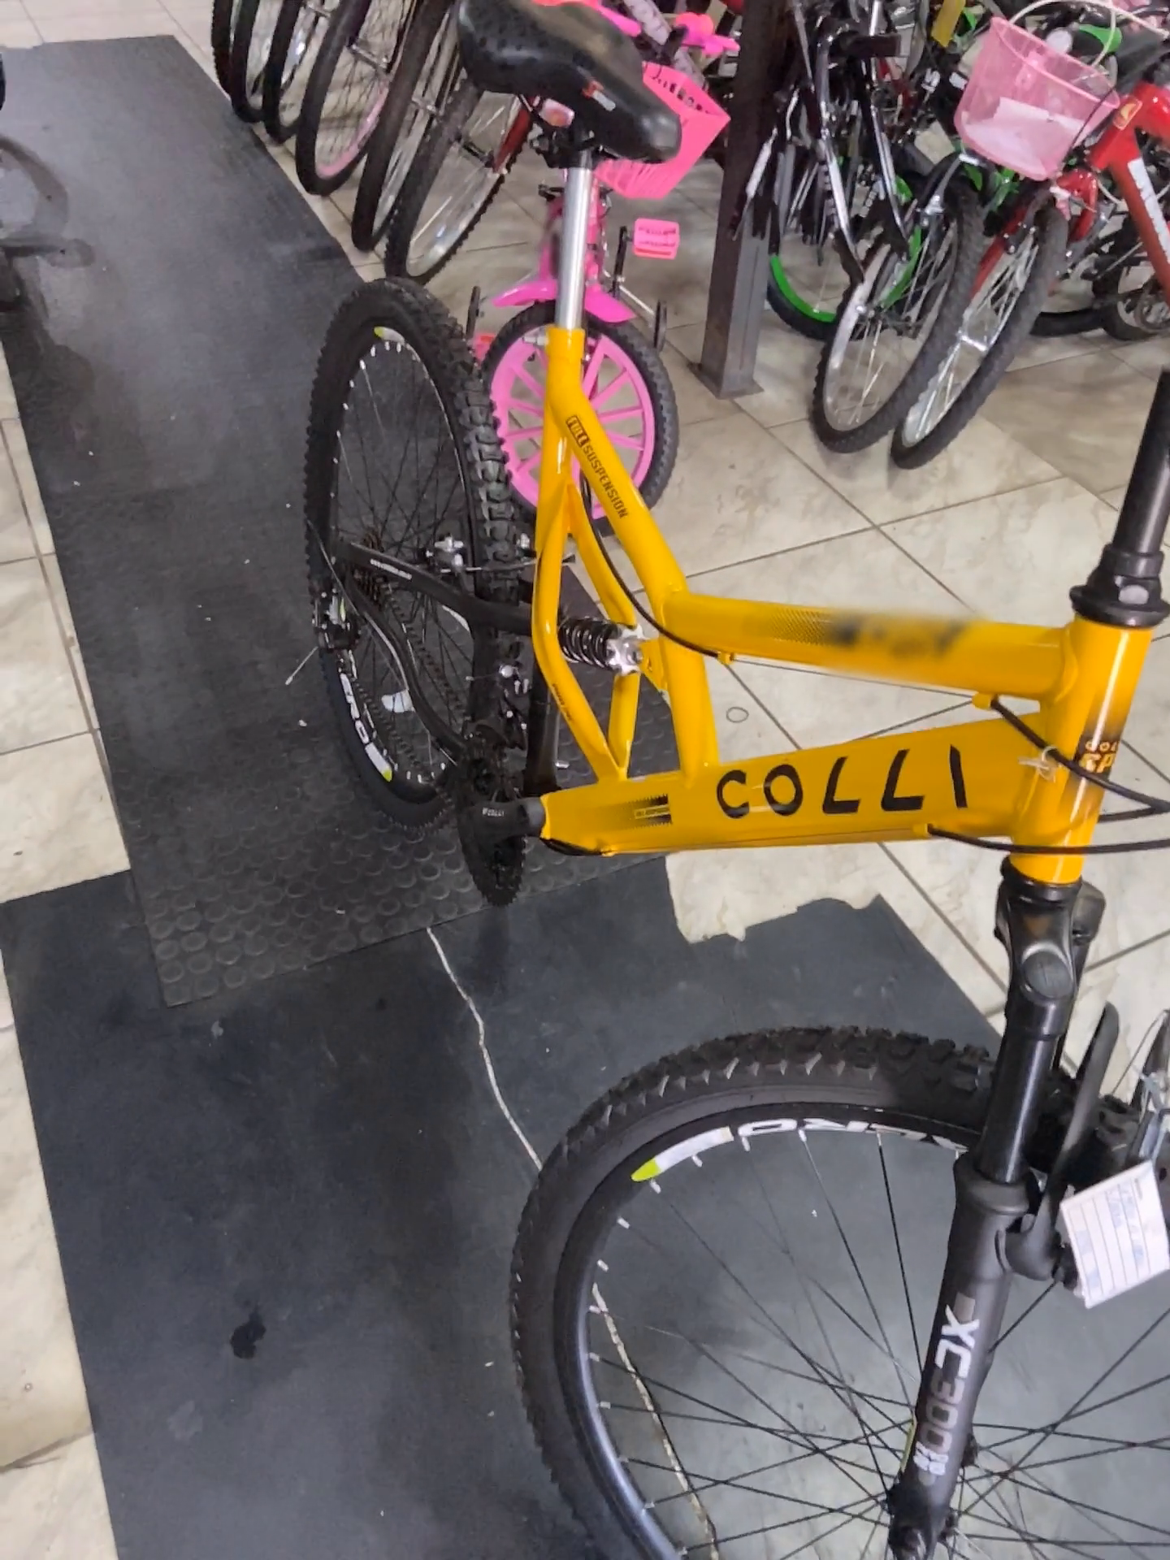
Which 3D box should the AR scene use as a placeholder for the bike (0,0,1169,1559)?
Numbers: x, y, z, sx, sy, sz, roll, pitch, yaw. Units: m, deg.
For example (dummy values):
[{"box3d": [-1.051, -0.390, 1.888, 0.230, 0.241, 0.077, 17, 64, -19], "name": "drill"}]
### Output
[{"box3d": [0.048, -0.110, 0.879, 0.476, 0.987, 1.525, -22, 48, -24], "name": "bike"}]
